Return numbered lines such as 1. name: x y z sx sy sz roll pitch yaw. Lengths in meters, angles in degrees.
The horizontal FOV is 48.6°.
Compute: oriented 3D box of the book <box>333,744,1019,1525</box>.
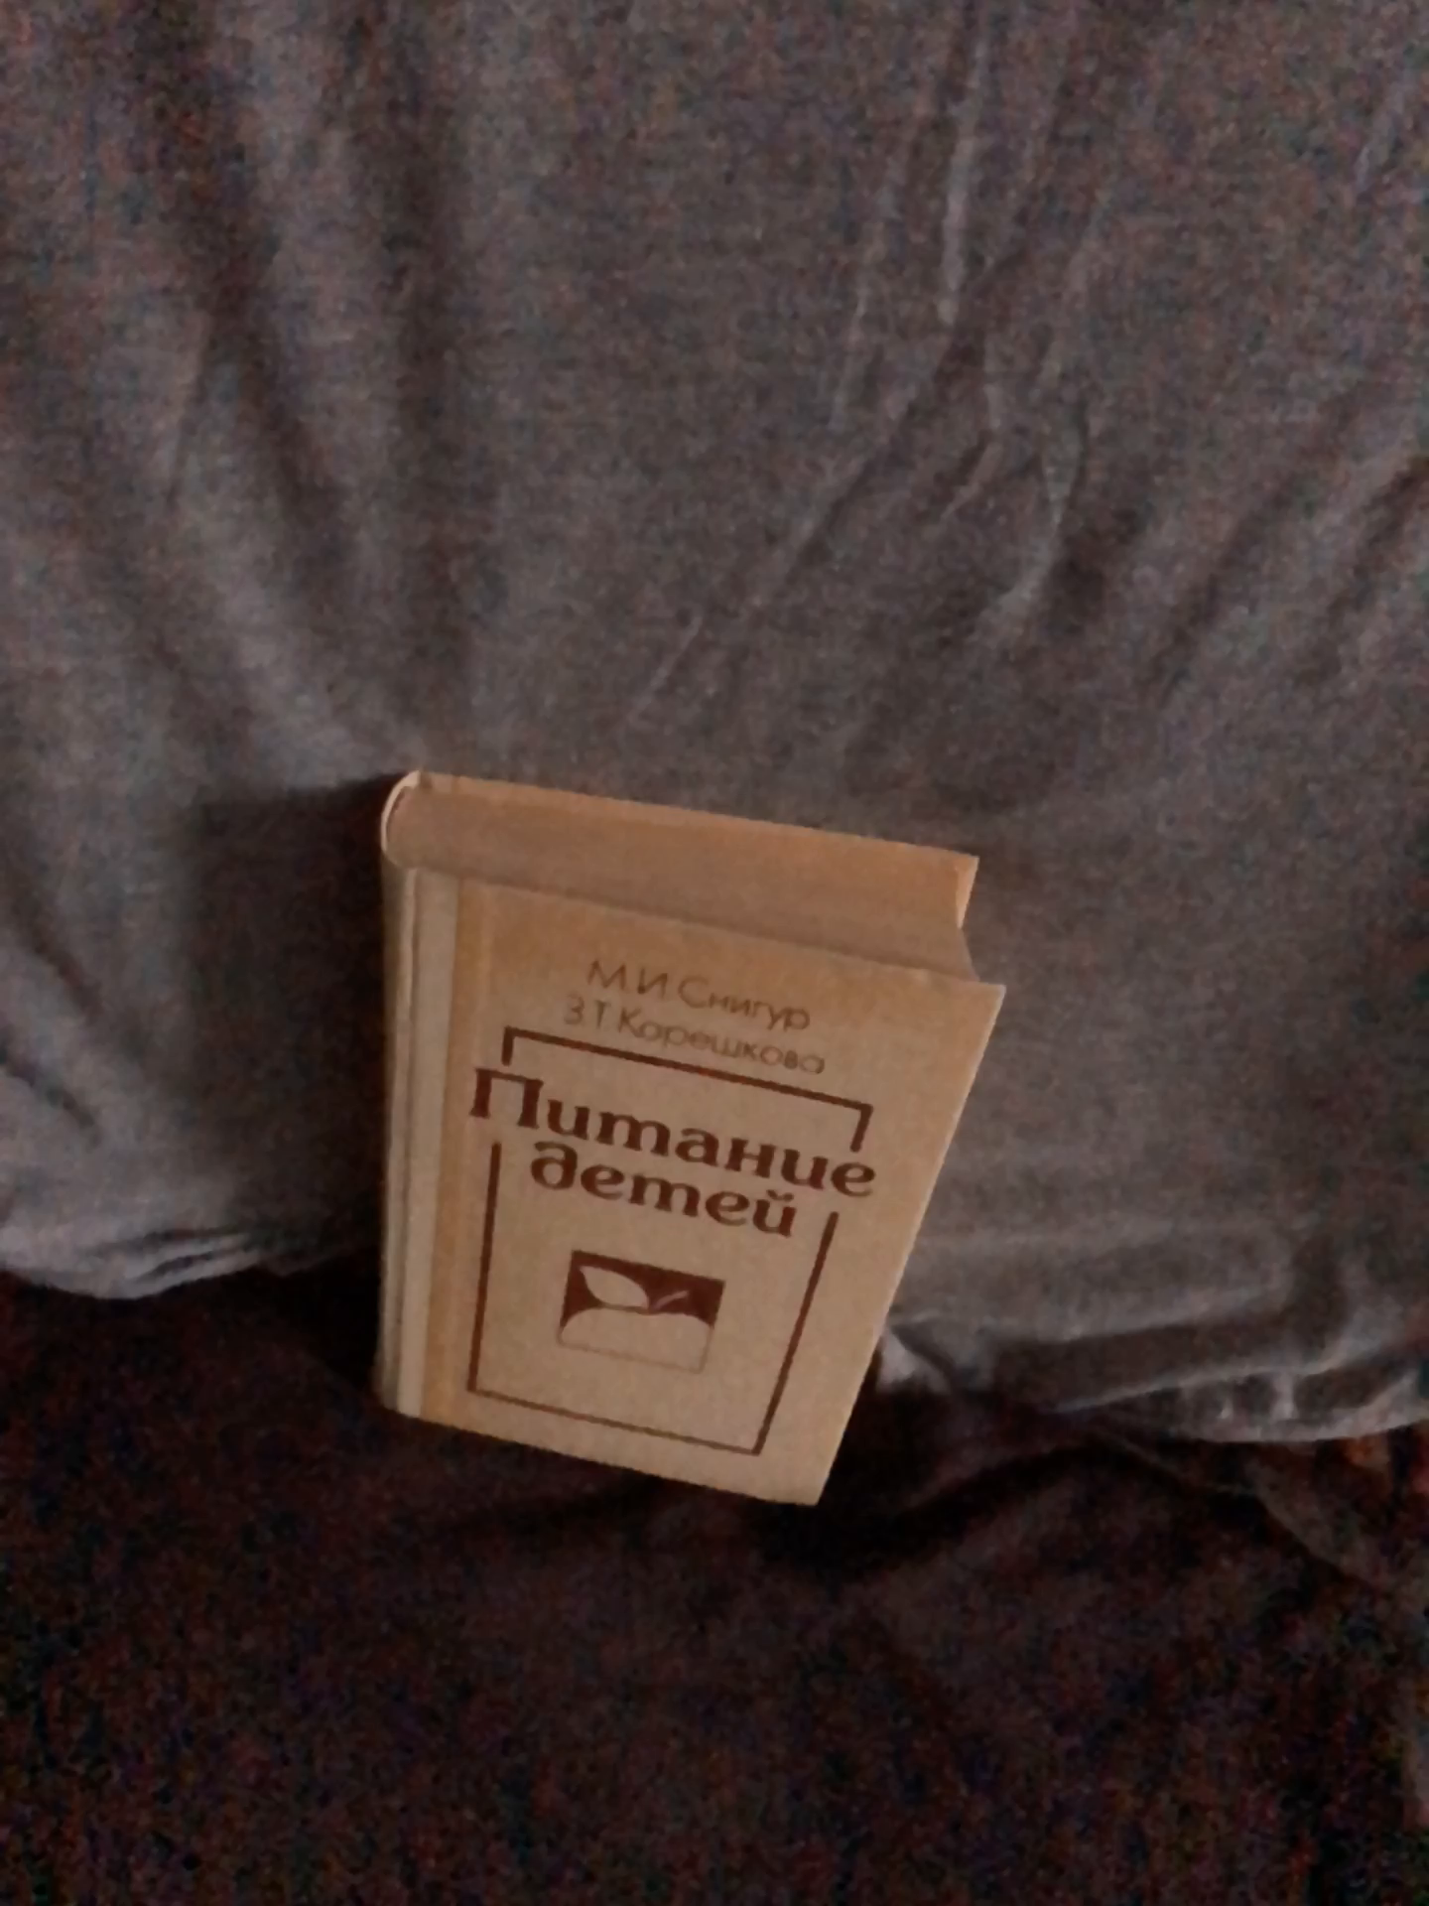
1. book: -0.019 0.061 0.414 0.144 0.220 0.041 12 42 3
